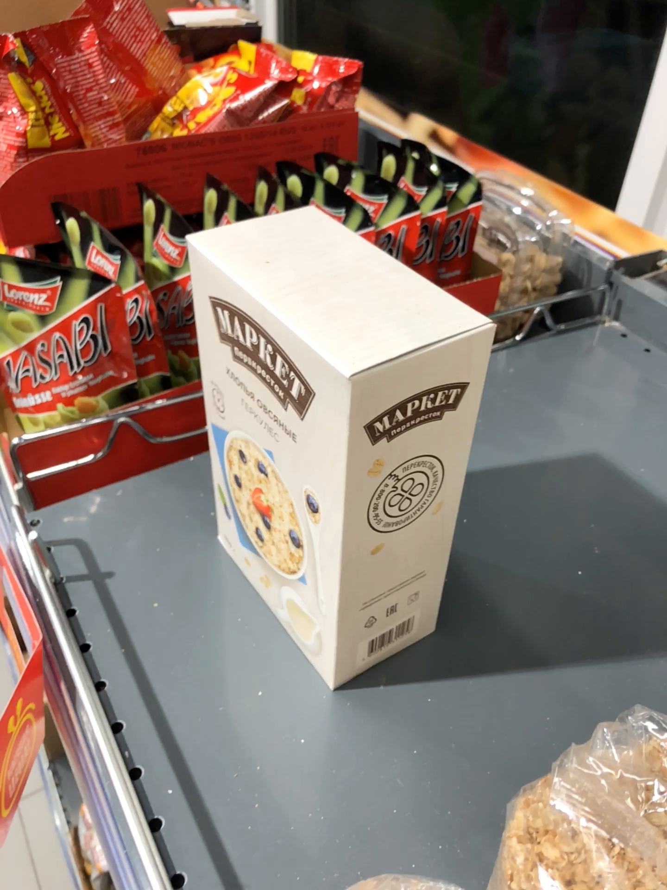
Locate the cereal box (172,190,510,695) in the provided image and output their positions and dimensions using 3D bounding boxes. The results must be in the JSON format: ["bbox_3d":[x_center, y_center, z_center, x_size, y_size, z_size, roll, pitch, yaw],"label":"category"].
[{"bbox_3d":[-0.005,0.001,0.352,0.070,0.189,0.131,-24,47,-27],"label":"cereal box"}]
